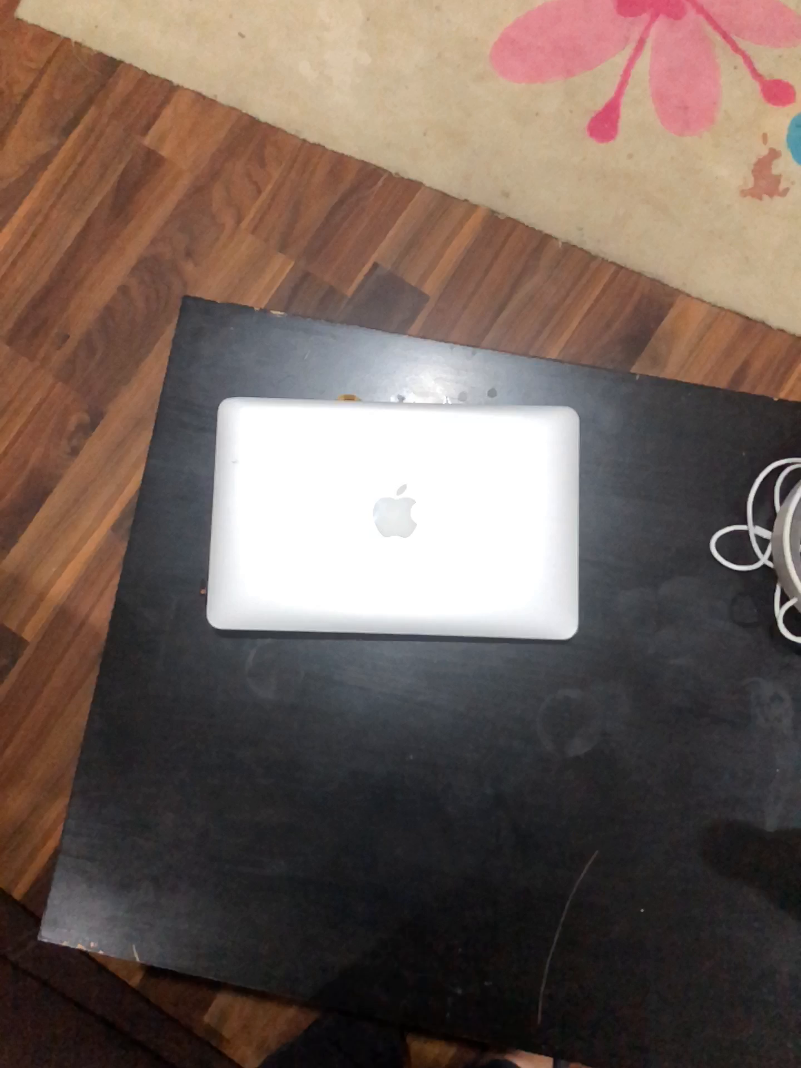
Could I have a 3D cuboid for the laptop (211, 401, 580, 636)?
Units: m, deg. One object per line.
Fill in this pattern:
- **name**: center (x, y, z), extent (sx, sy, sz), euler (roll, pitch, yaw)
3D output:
- **laptop**: center (-0.003, -0.012, 0.739), extent (0.300, 0.011, 0.190), euler (2, 88, -1)
